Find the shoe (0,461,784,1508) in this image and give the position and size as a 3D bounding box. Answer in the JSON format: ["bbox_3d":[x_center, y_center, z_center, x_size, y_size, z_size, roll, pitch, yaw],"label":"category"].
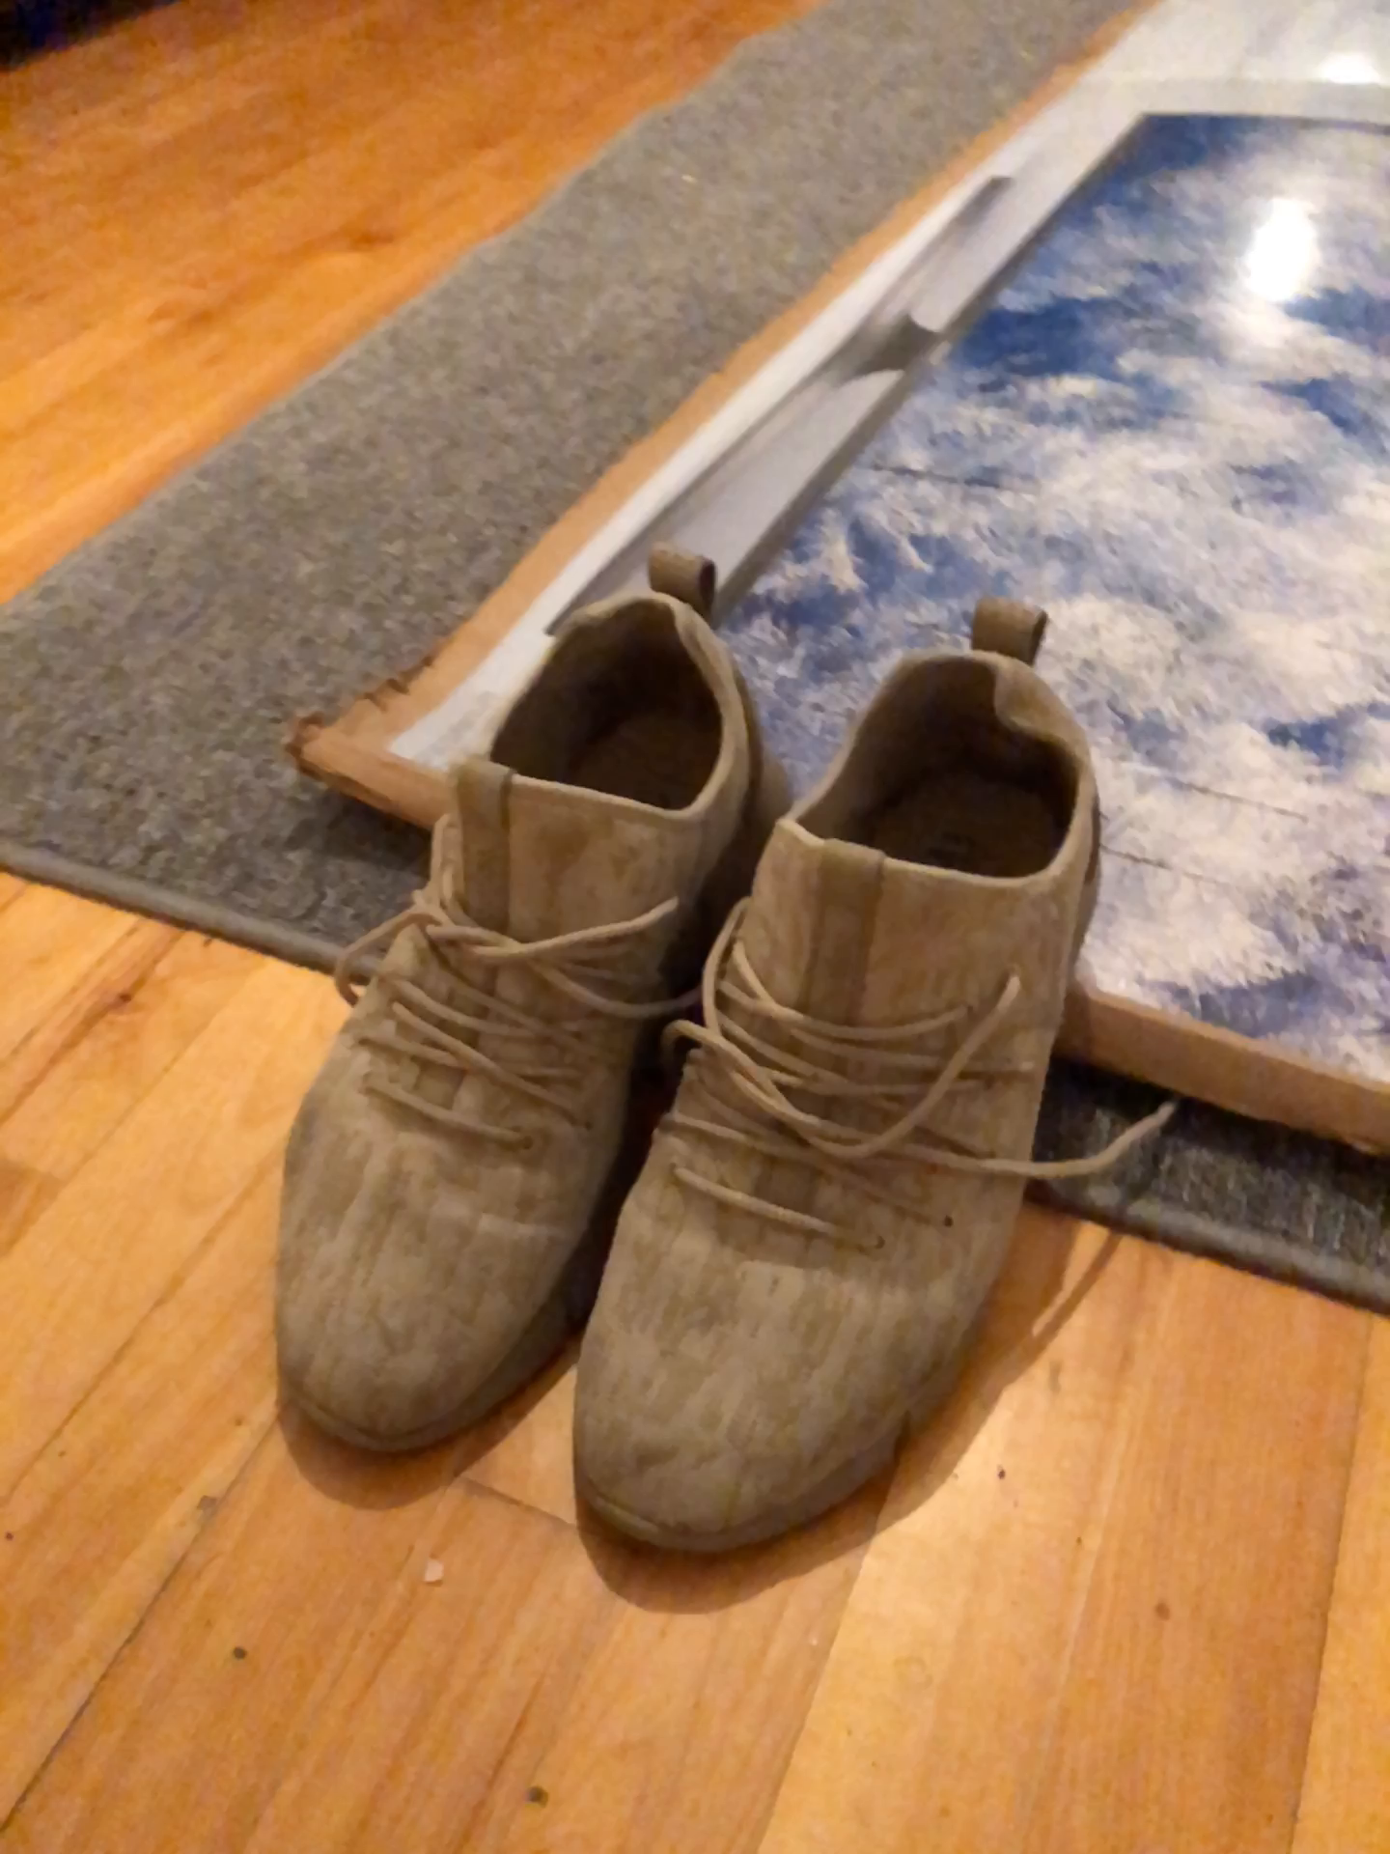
[{"bbox_3d":[-0.078,0.016,0.434,0.110,0.119,0.251,16,72,19],"label":"shoe"}]

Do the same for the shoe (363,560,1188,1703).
[{"bbox_3d":[0.037,0.050,0.416,0.110,0.119,0.251,19,76,21],"label":"shoe"}]
